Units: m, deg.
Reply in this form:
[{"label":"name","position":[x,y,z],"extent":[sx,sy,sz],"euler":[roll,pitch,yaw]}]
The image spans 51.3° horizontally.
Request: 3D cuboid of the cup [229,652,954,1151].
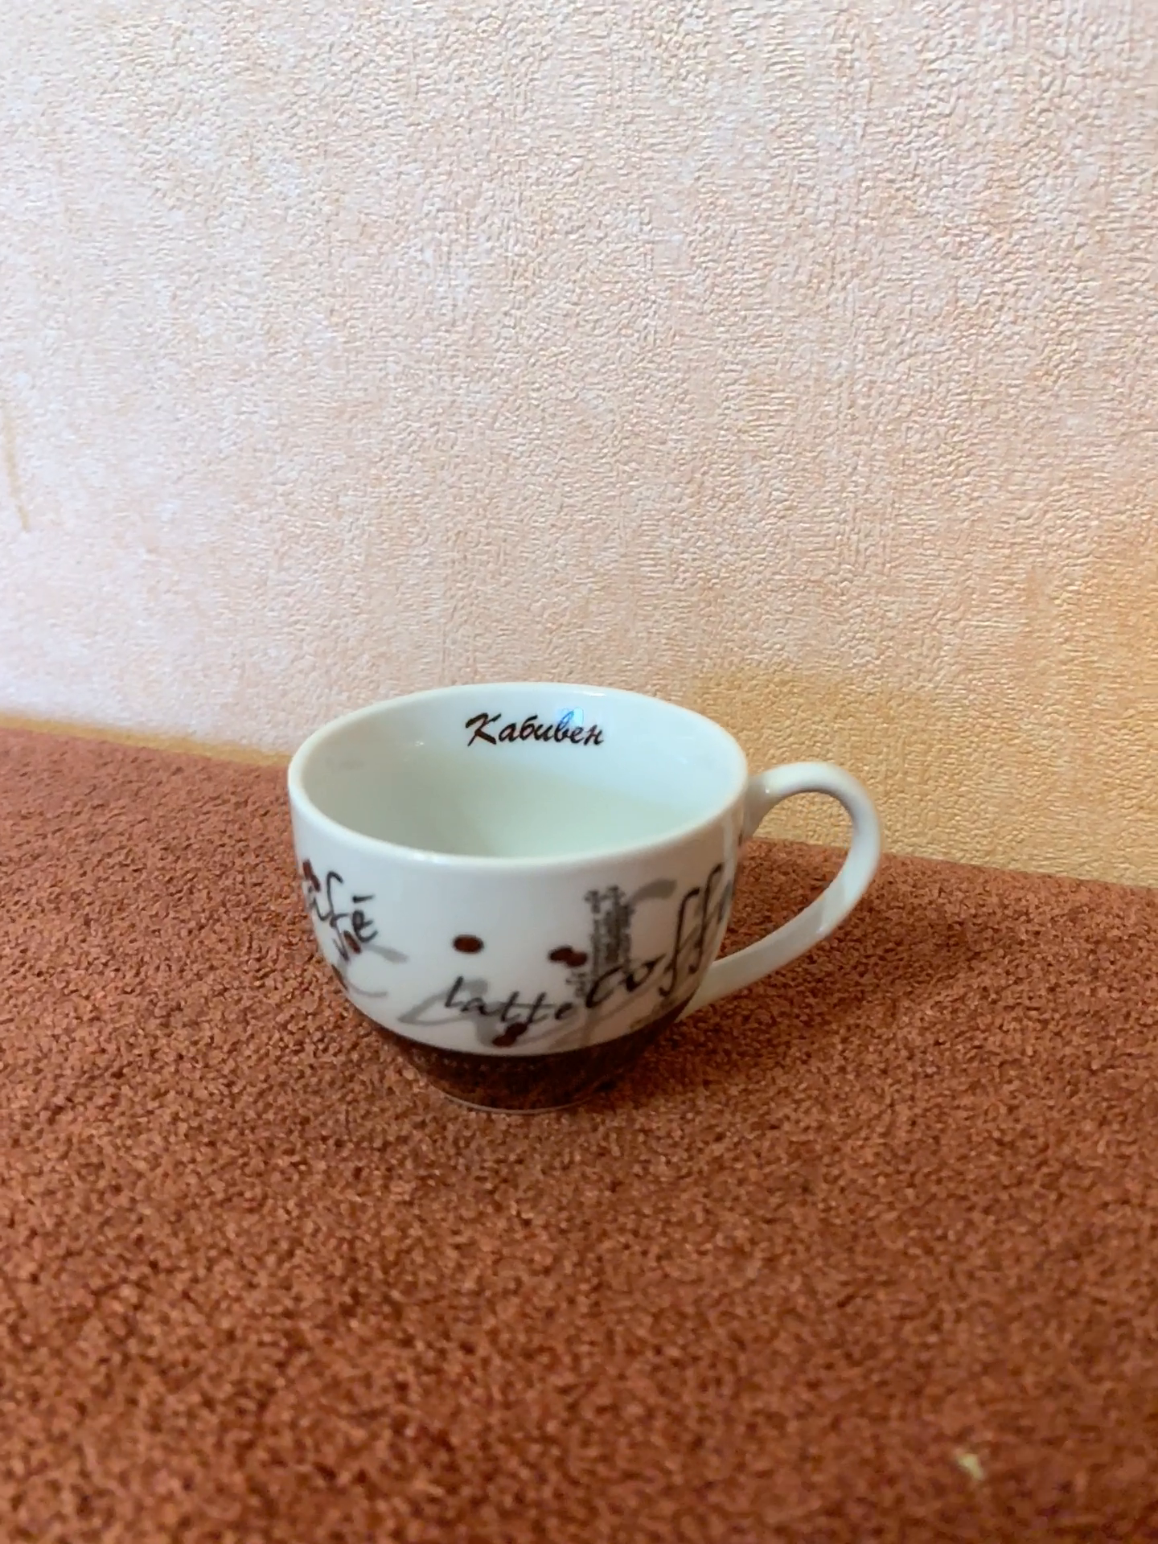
[{"label":"cup","position":[0.001,0.014,0.174],"extent":[0.083,0.040,0.065],"euler":[-3,23,-3]}]
